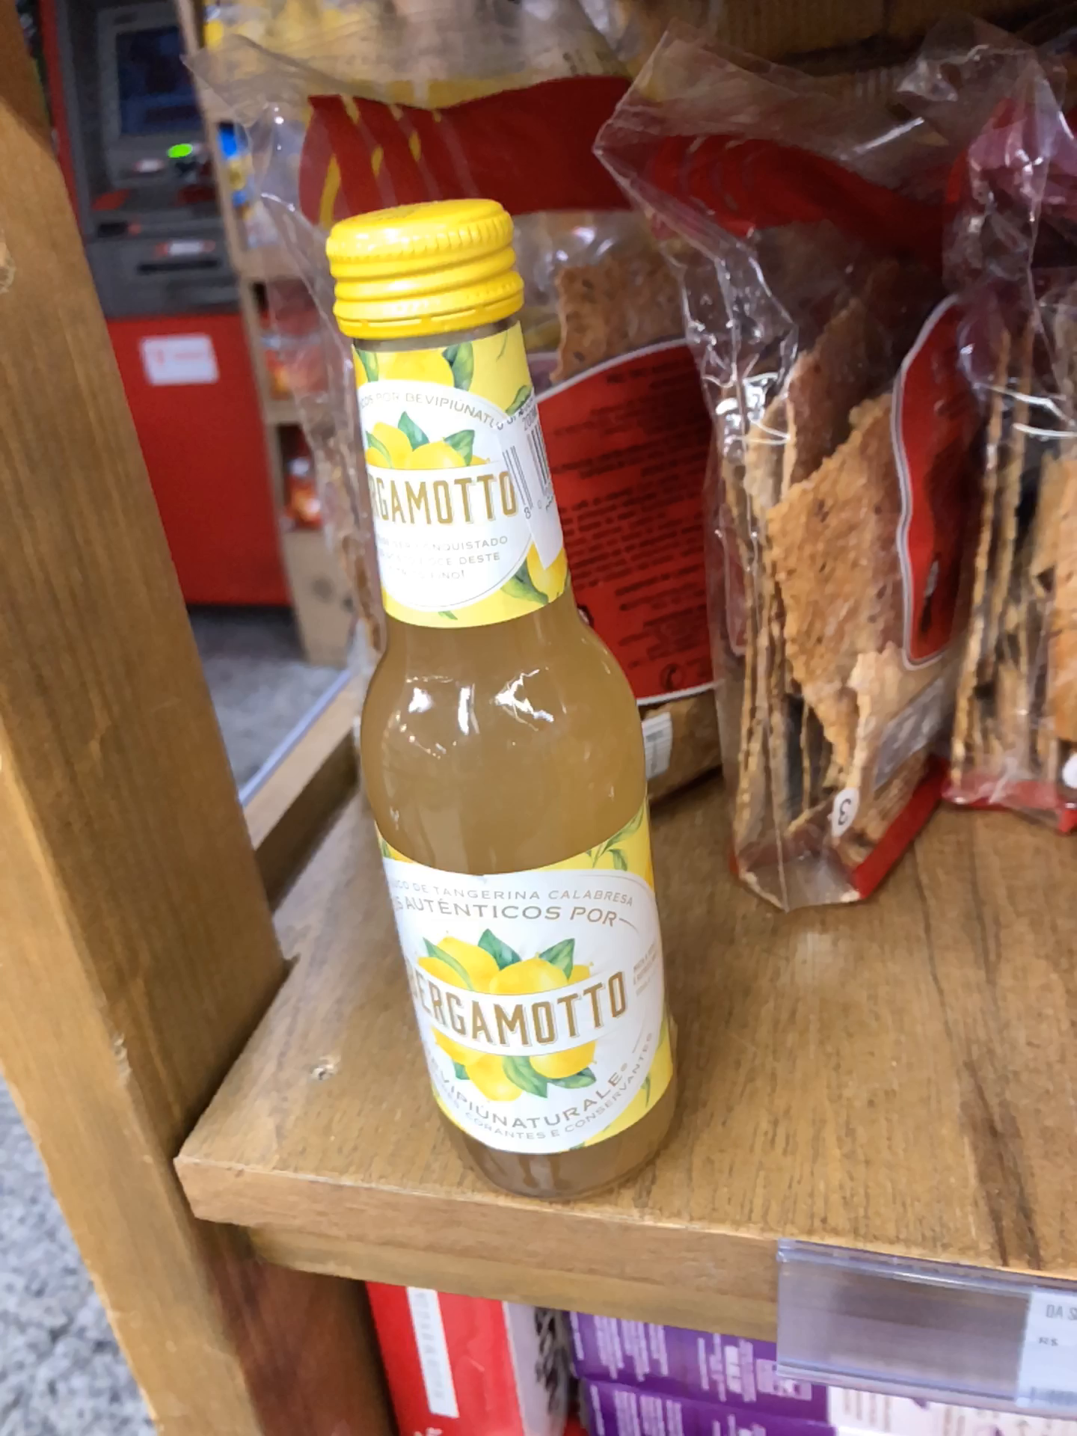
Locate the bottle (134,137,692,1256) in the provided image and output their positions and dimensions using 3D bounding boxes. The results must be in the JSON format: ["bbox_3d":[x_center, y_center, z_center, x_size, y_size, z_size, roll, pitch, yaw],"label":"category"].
[{"bbox_3d":[-0.009,0.005,0.228,0.060,0.199,0.060,-5,28,3],"label":"bottle"}]
